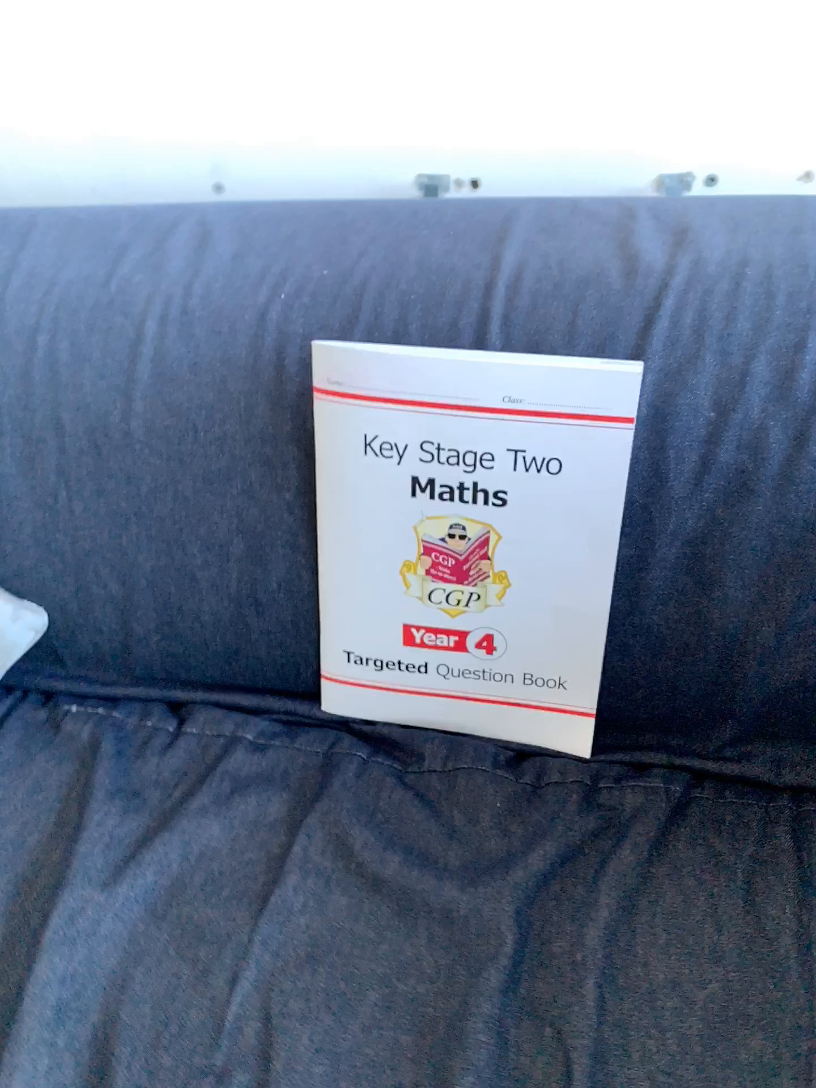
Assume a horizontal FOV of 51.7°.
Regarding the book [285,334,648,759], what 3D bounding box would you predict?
[{"bbox_3d":[0.032,0.003,0.561,0.220,0.266,0.030,6,21,14],"label":"book"}]
